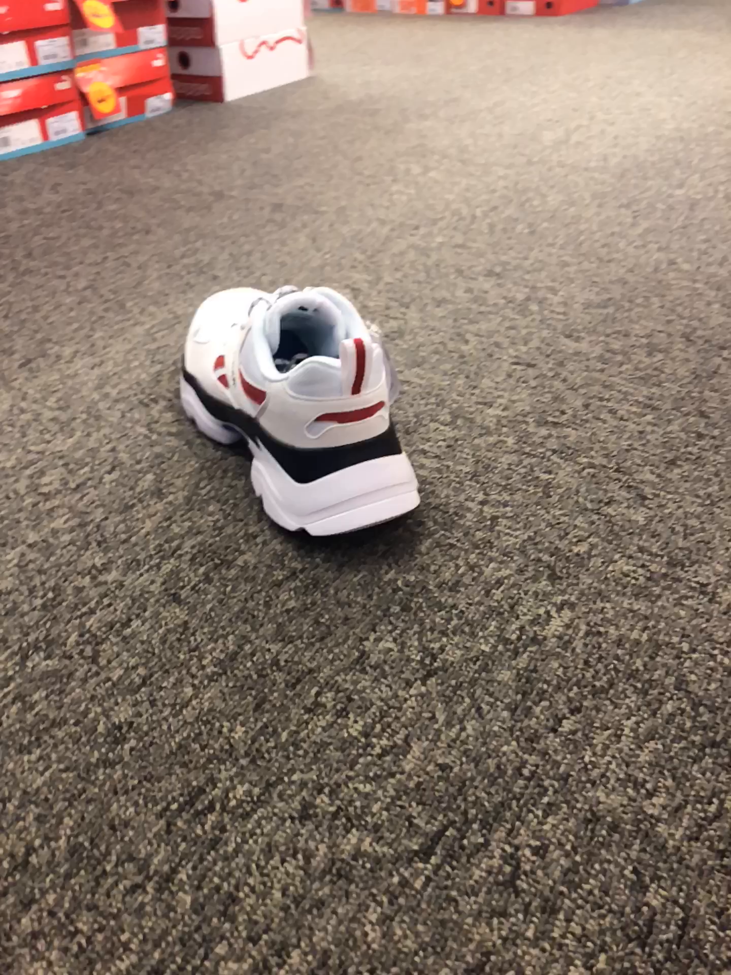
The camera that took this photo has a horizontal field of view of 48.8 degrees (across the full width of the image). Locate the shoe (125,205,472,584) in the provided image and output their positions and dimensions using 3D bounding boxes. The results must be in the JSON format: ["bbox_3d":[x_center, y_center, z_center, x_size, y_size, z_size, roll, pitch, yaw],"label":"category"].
[{"bbox_3d":[-0.059,-0.085,0.536,0.113,0.109,0.301,-17,38,-19],"label":"shoe"}]
